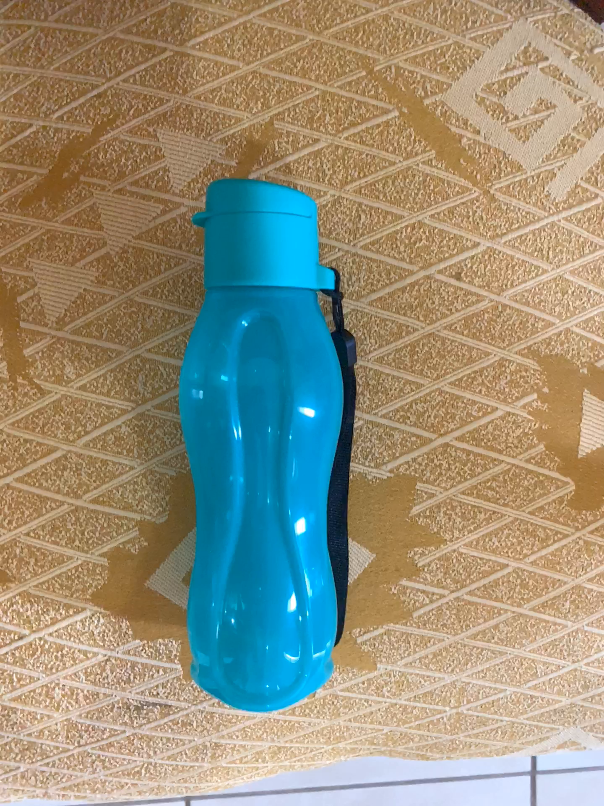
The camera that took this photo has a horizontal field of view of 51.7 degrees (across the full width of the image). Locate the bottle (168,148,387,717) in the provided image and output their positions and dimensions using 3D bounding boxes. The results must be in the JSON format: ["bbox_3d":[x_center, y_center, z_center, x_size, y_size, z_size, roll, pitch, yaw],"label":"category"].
[{"bbox_3d":[-0.011,0.013,0.244,0.070,0.050,0.200,2,96,-2],"label":"bottle"}]
